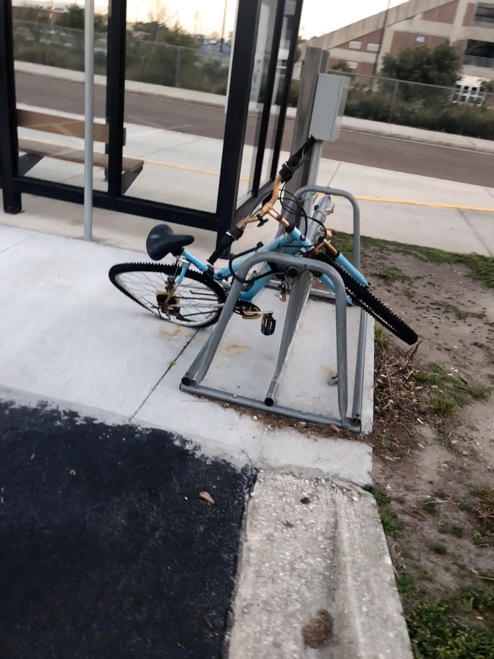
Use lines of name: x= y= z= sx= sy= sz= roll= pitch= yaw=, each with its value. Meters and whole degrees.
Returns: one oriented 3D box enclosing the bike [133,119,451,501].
bike: x=0.089 y=-0.160 z=2.058 sx=0.940 sy=1.127 sz=0.549 roll=23 pitch=29 yaw=30
